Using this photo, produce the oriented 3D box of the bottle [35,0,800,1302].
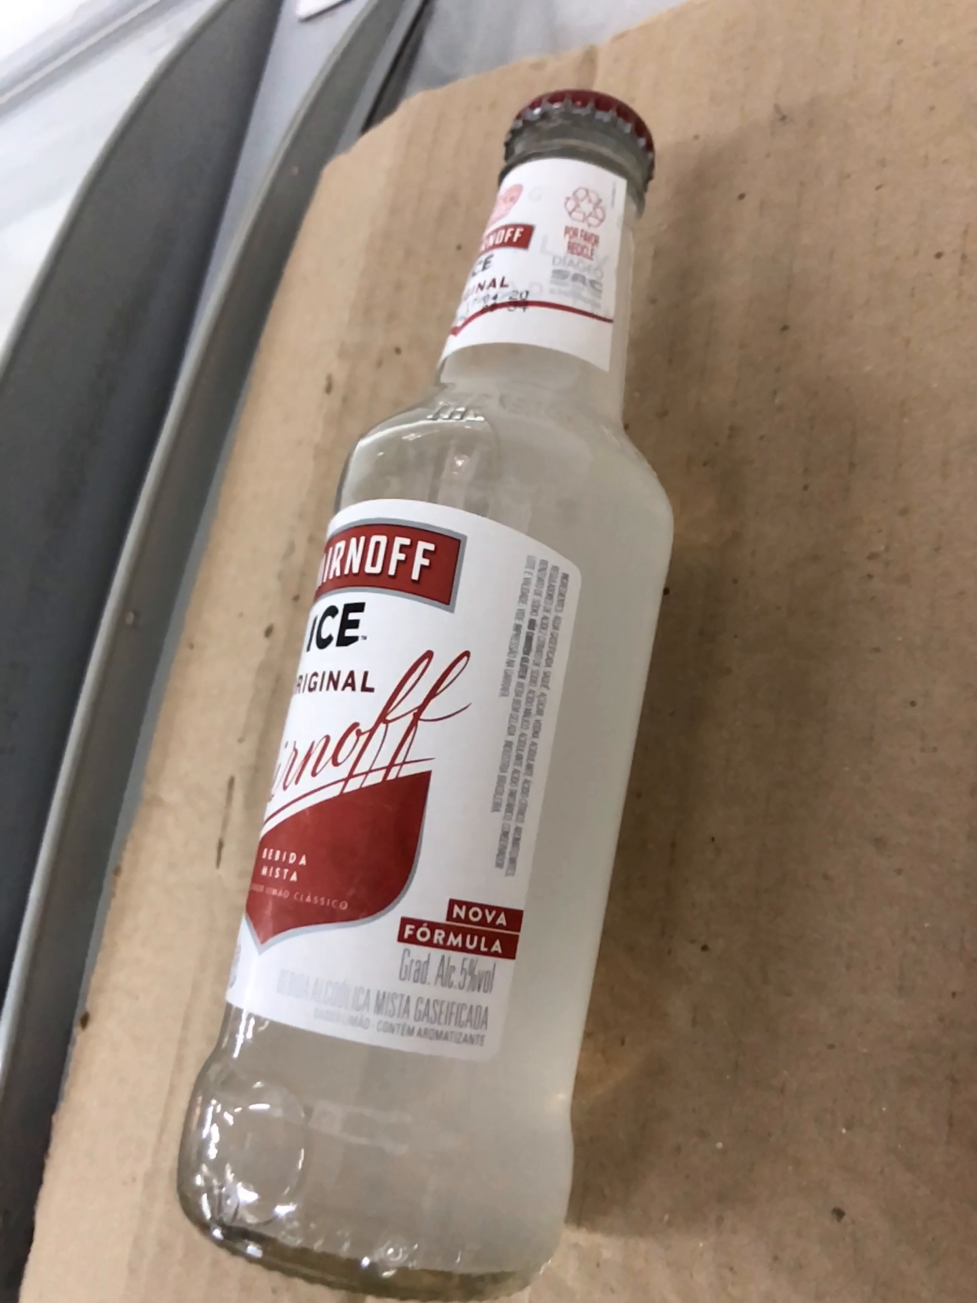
[{"bbox_3d":[-0.005,-0.009,0.177,0.070,0.050,0.210,0,74,40],"label":"bottle"}]
